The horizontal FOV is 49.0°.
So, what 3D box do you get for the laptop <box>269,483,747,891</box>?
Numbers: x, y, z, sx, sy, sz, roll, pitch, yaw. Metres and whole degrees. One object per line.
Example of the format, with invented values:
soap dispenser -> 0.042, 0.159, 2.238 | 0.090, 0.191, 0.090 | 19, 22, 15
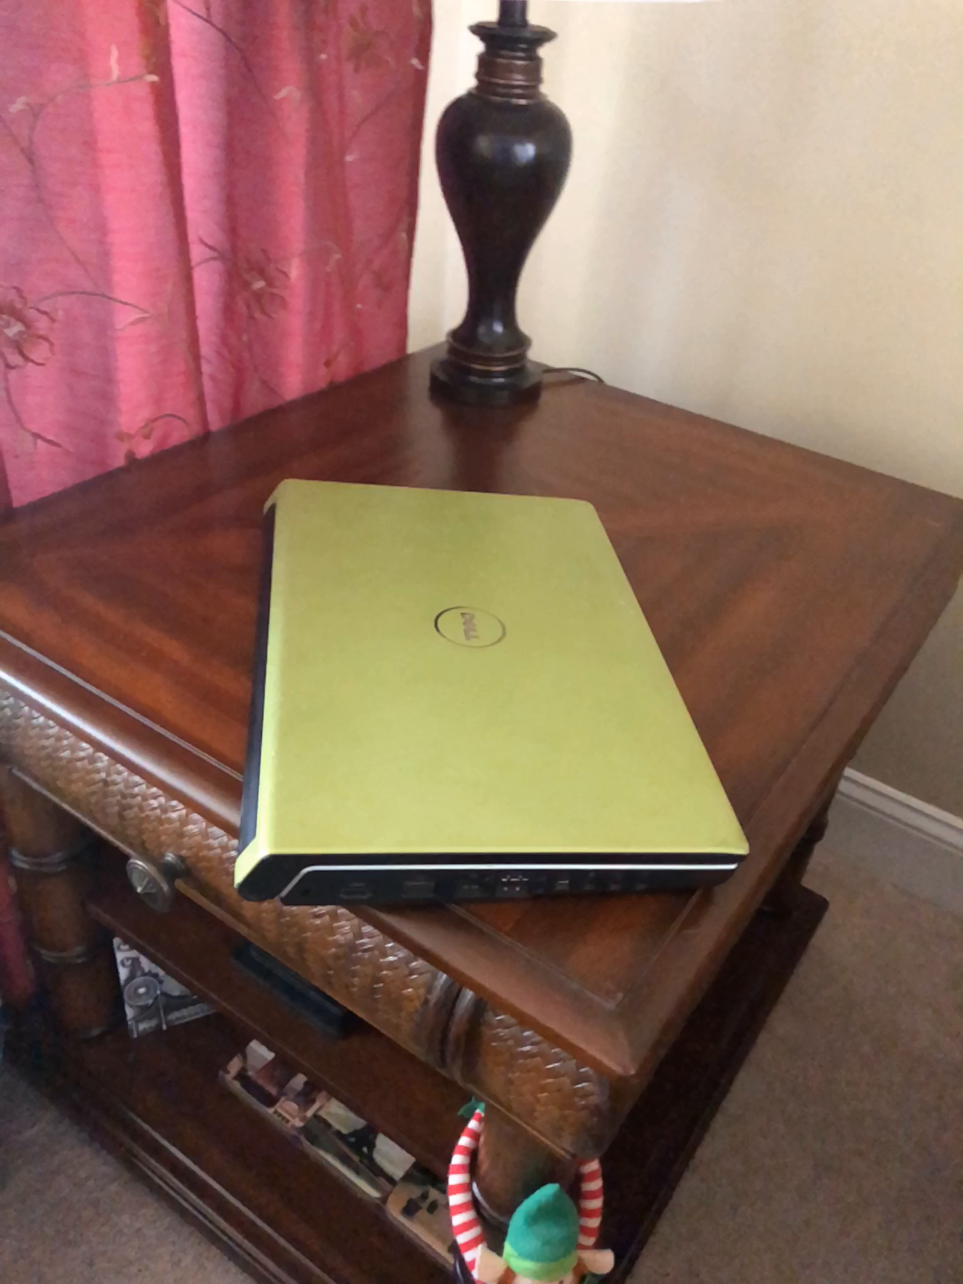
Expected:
laptop -> -0.008, 0.004, 0.667 | 0.236, 0.020, 0.380 | 3, 34, -12
